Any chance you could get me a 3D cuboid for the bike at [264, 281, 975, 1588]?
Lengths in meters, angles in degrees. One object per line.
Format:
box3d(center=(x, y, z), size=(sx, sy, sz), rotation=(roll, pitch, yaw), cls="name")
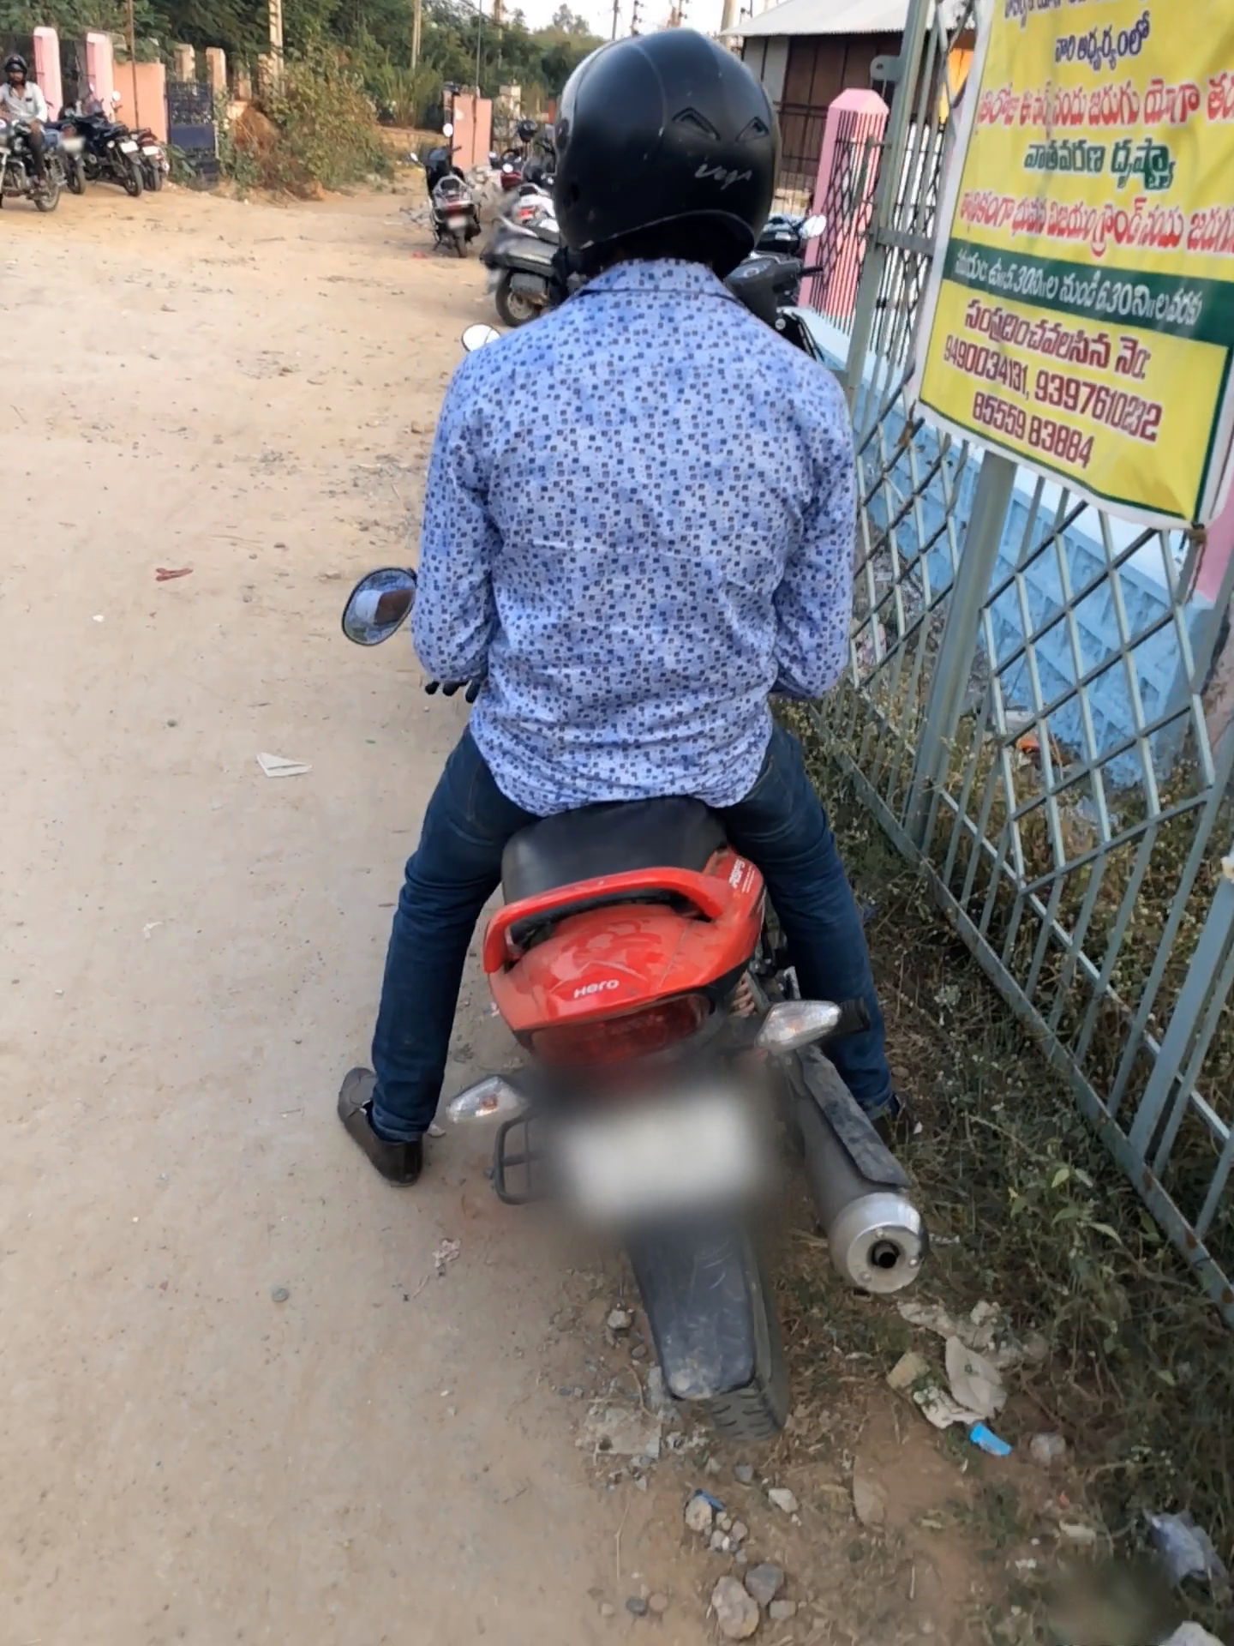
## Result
box3d(center=(-0.215, -0.040, 2.071), size=(0.582, 1.176, 1.697), rotation=(-1, 30, -13), cls="bike")
